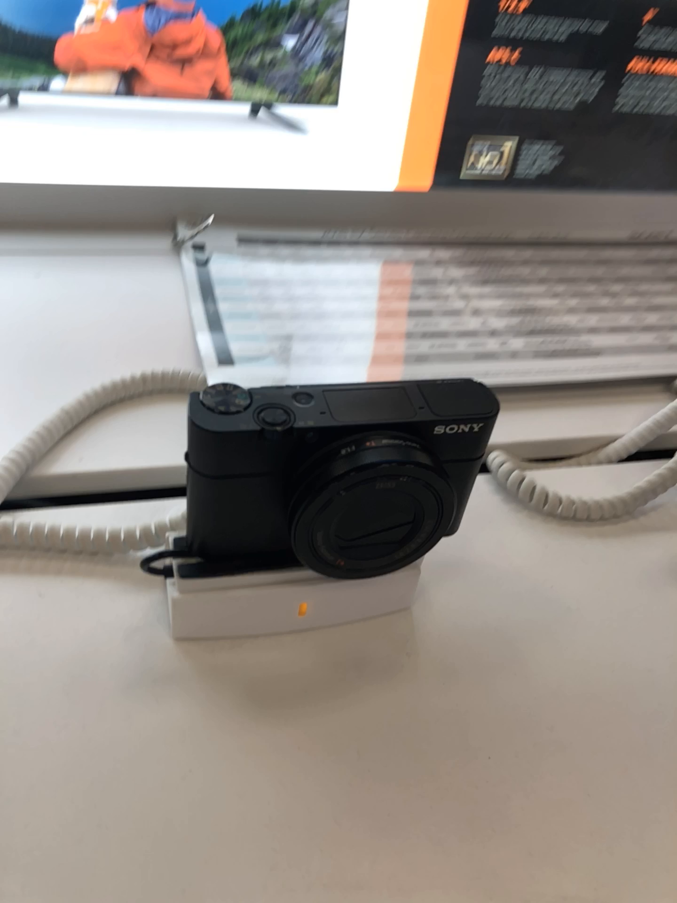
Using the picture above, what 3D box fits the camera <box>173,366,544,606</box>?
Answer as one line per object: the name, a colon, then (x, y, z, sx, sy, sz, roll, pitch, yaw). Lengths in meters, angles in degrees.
camera: (0.003, 0.010, 0.253, 0.110, 0.060, 0.040, -4, 40, -16)
